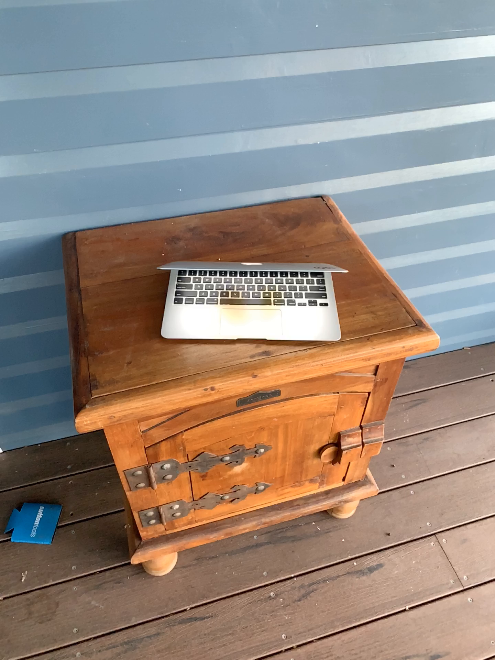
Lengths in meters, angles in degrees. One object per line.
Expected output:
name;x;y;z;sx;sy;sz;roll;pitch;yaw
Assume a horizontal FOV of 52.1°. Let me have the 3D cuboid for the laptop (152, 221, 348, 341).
laptop;0.004;-0.083;0.824;0.282;0.099;0.181;0;46;0
